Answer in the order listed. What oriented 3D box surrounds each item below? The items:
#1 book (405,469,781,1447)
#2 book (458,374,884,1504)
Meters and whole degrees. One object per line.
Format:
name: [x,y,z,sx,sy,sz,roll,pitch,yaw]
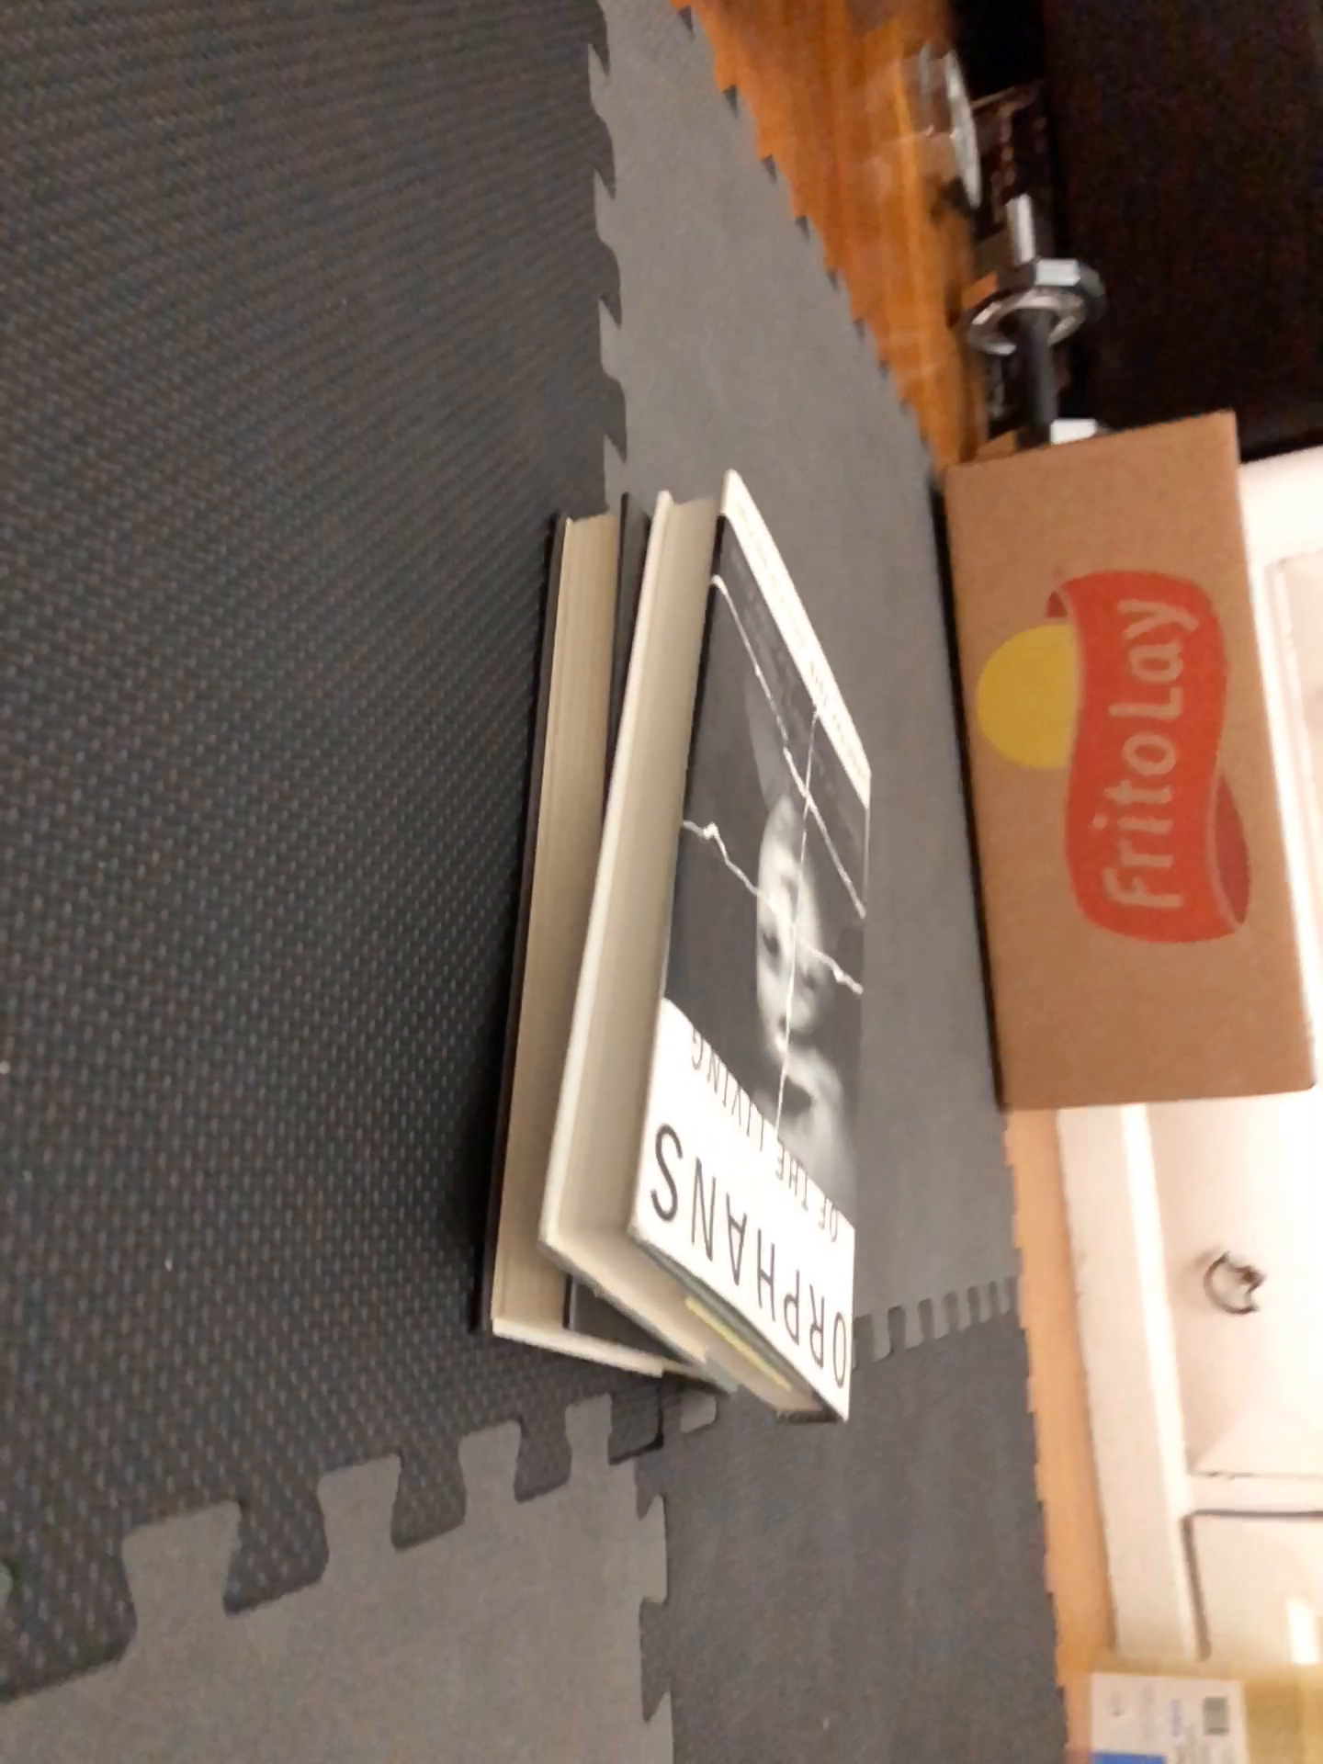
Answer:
book: [-0.007,0.030,0.433,0.160,0.030,0.250,42,45,-57]
book: [0.023,0.016,0.431,0.180,0.030,0.281,53,36,-49]
